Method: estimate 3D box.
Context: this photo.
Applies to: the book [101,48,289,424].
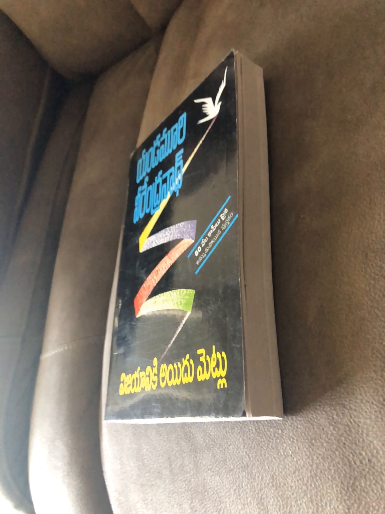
[{"bbox_3d":[-0.008,-0.005,0.283,0.144,0.026,0.212,-27,55,49],"label":"book"}]
